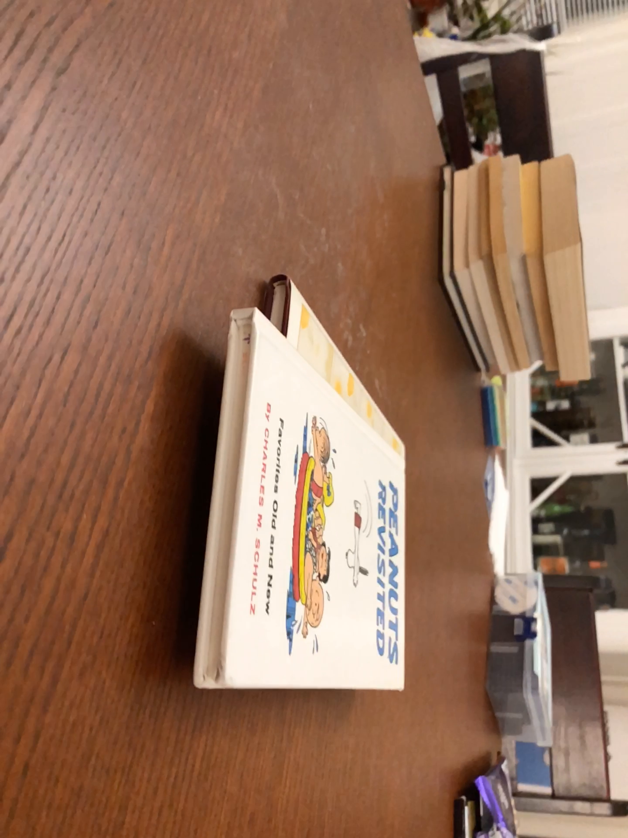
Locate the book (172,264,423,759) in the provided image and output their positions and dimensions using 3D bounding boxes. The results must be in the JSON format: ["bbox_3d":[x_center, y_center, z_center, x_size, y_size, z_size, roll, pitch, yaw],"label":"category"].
[{"bbox_3d":[0.012,0.053,0.319,0.211,0.020,0.160,38,50,-60],"label":"book"}]
